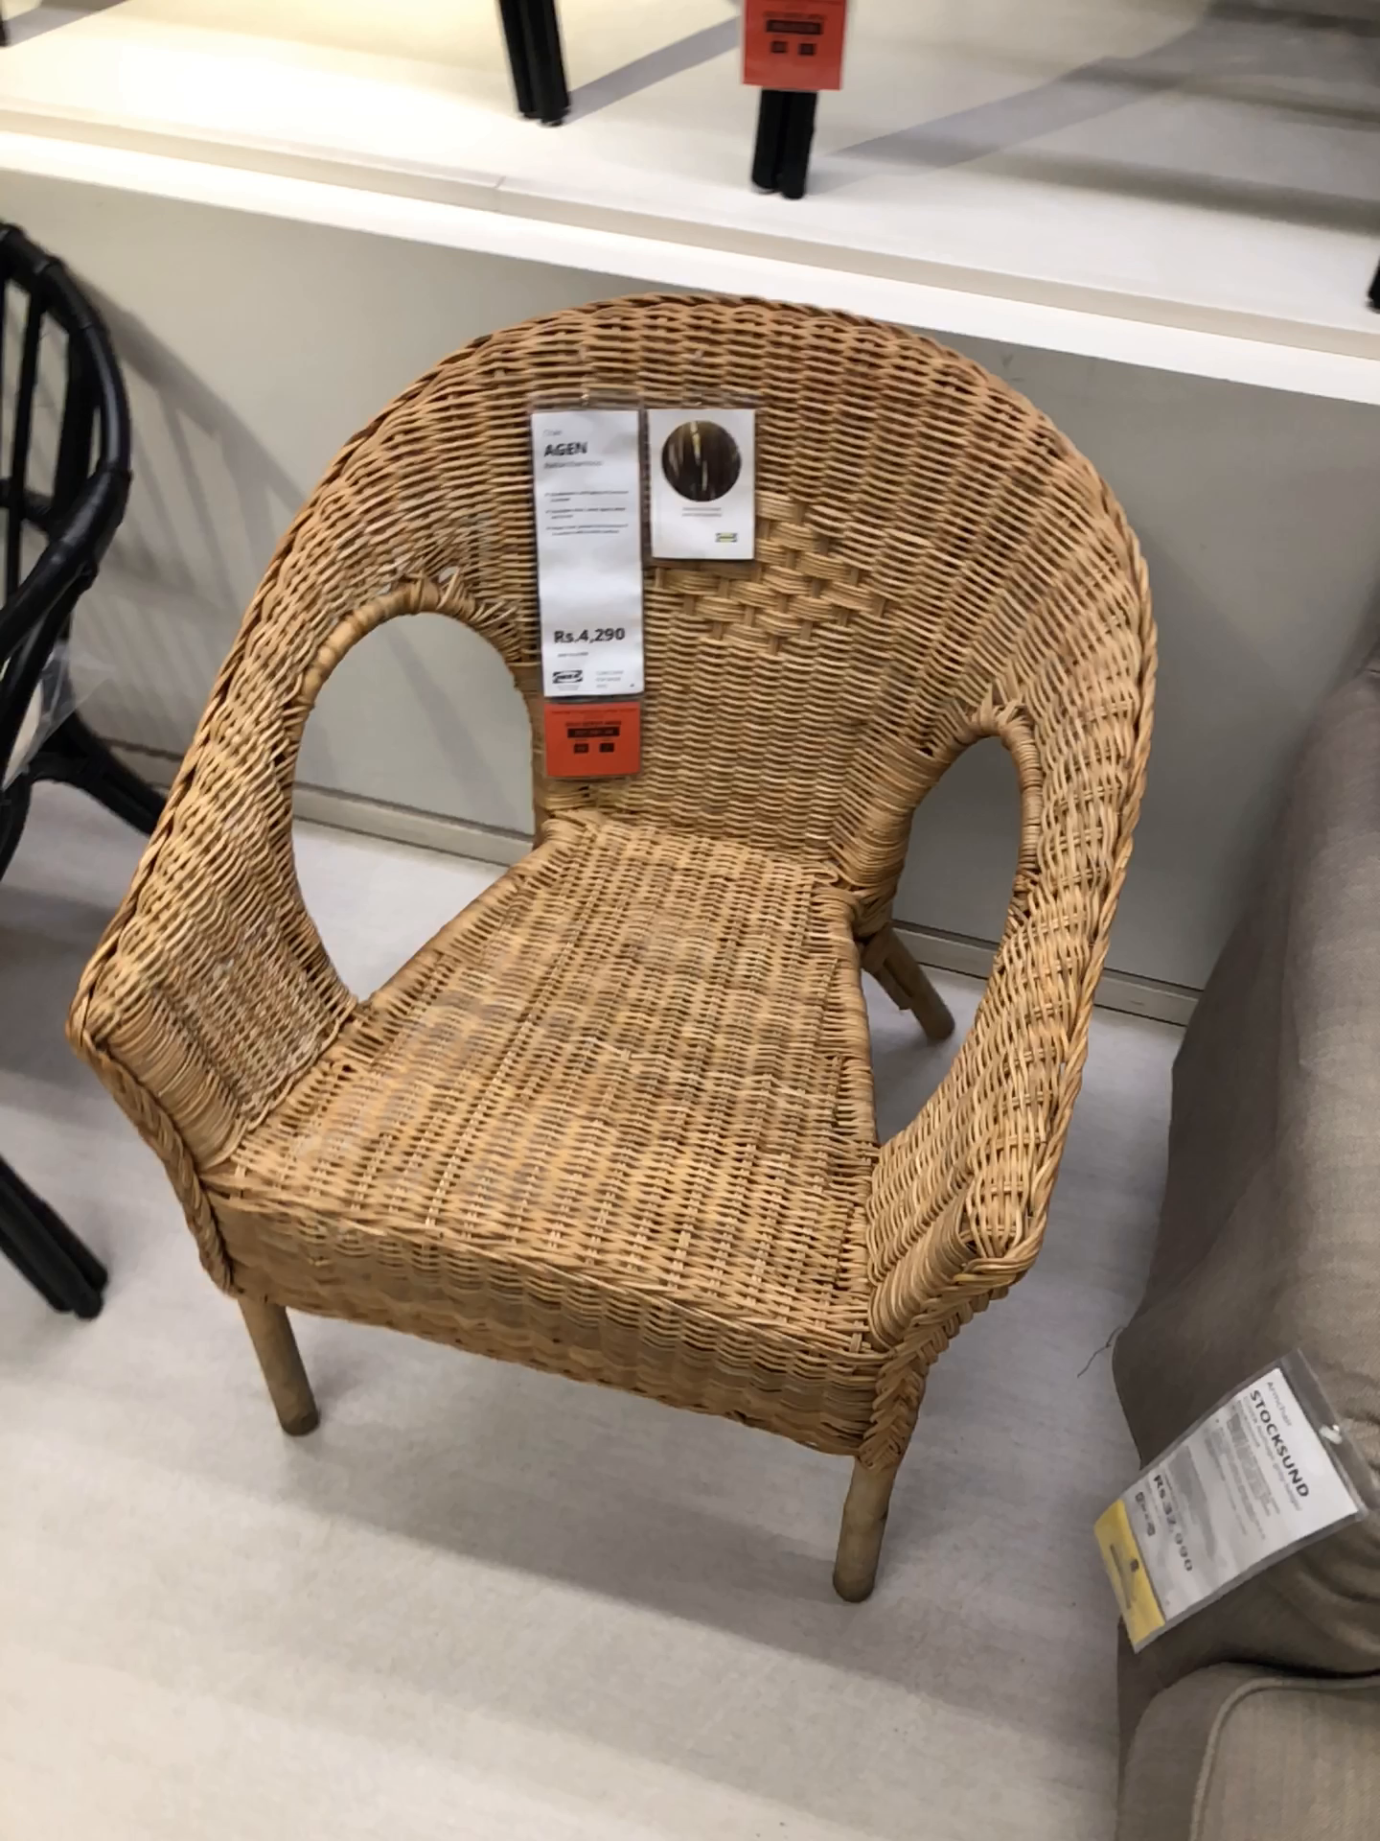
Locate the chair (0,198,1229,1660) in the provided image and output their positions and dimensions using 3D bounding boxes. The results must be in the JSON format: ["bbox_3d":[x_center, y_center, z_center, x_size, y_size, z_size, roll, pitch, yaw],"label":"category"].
[{"bbox_3d":[-0.031,0.031,1.042,0.550,0.696,0.603,13,53,9],"label":"chair"}]
